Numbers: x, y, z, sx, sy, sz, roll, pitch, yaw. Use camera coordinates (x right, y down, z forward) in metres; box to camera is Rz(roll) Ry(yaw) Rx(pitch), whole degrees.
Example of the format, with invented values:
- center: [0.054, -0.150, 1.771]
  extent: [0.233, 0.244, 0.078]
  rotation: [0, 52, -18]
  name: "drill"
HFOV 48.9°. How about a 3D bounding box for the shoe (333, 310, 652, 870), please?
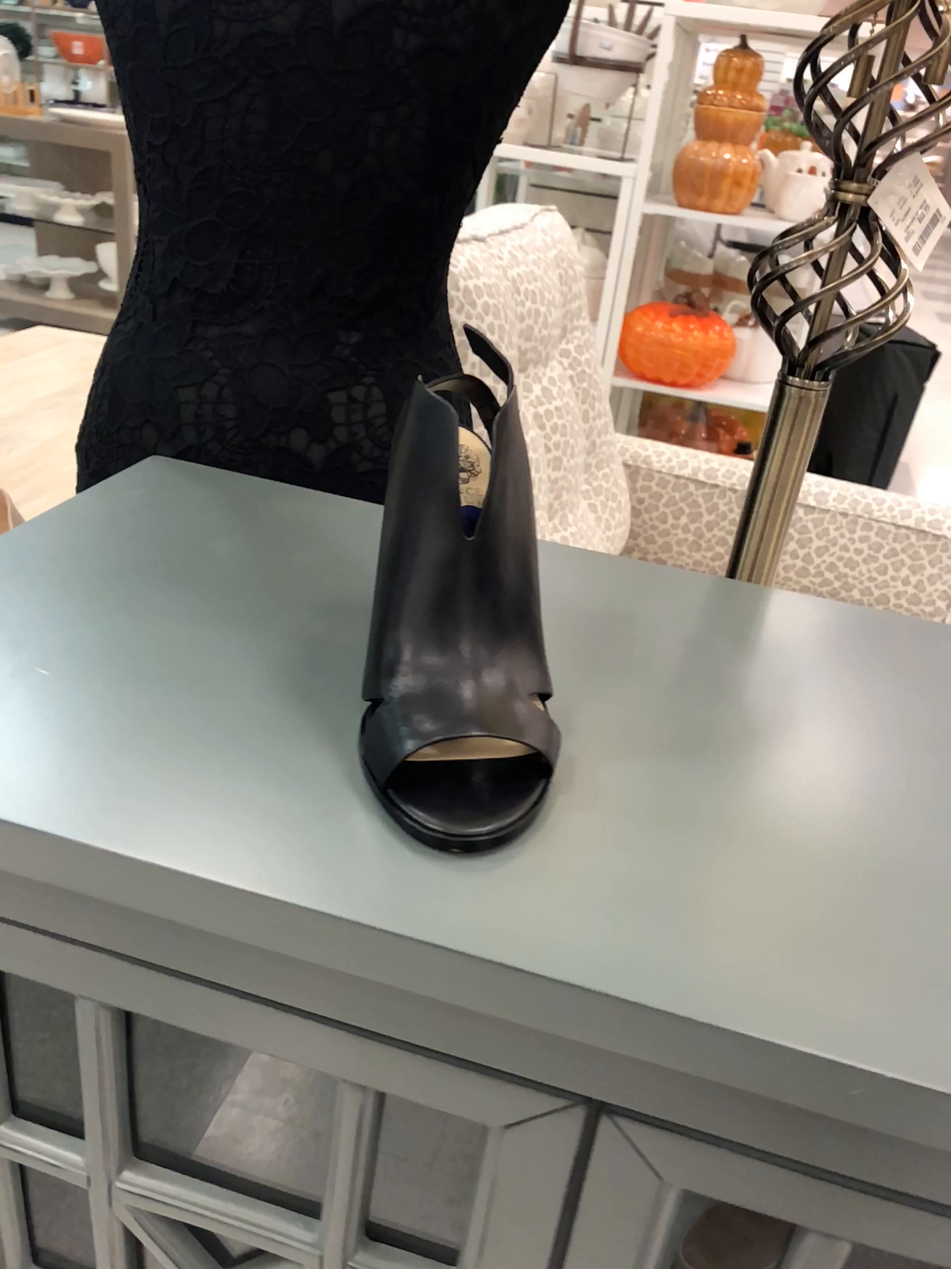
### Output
- center: [-0.008, -0.038, 0.460]
  extent: [0.091, 0.151, 0.241]
  rotation: [3, 27, -7]
  name: "shoe"
